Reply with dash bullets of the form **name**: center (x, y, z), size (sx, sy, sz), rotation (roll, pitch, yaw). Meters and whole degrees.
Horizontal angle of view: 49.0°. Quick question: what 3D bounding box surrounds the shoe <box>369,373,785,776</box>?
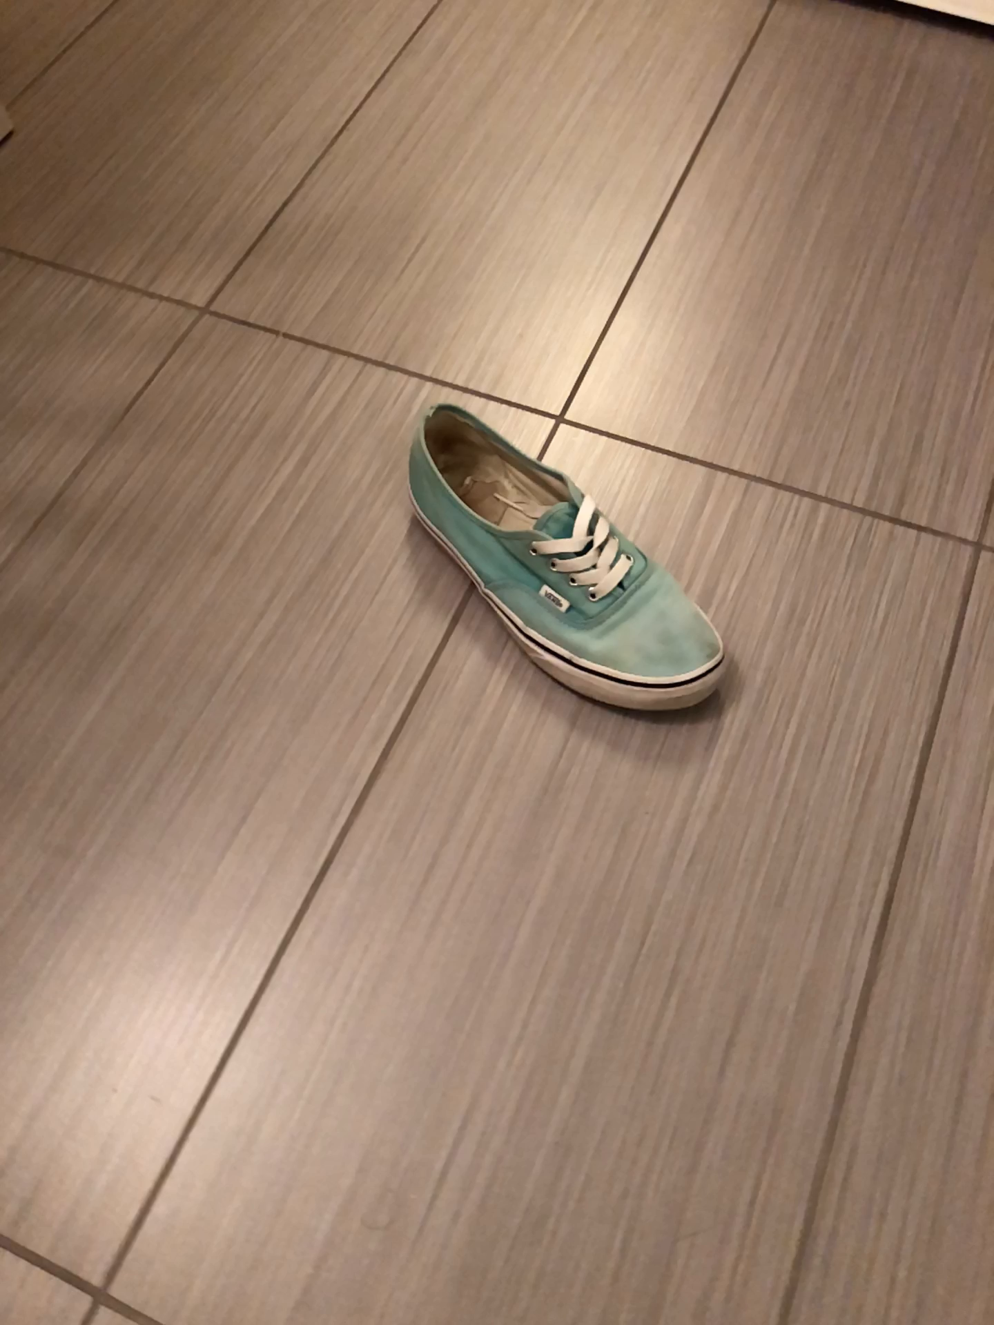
- **shoe**: center (0.042, -0.060, 0.683), size (0.090, 0.080, 0.260), rotation (-39, 66, -18)
